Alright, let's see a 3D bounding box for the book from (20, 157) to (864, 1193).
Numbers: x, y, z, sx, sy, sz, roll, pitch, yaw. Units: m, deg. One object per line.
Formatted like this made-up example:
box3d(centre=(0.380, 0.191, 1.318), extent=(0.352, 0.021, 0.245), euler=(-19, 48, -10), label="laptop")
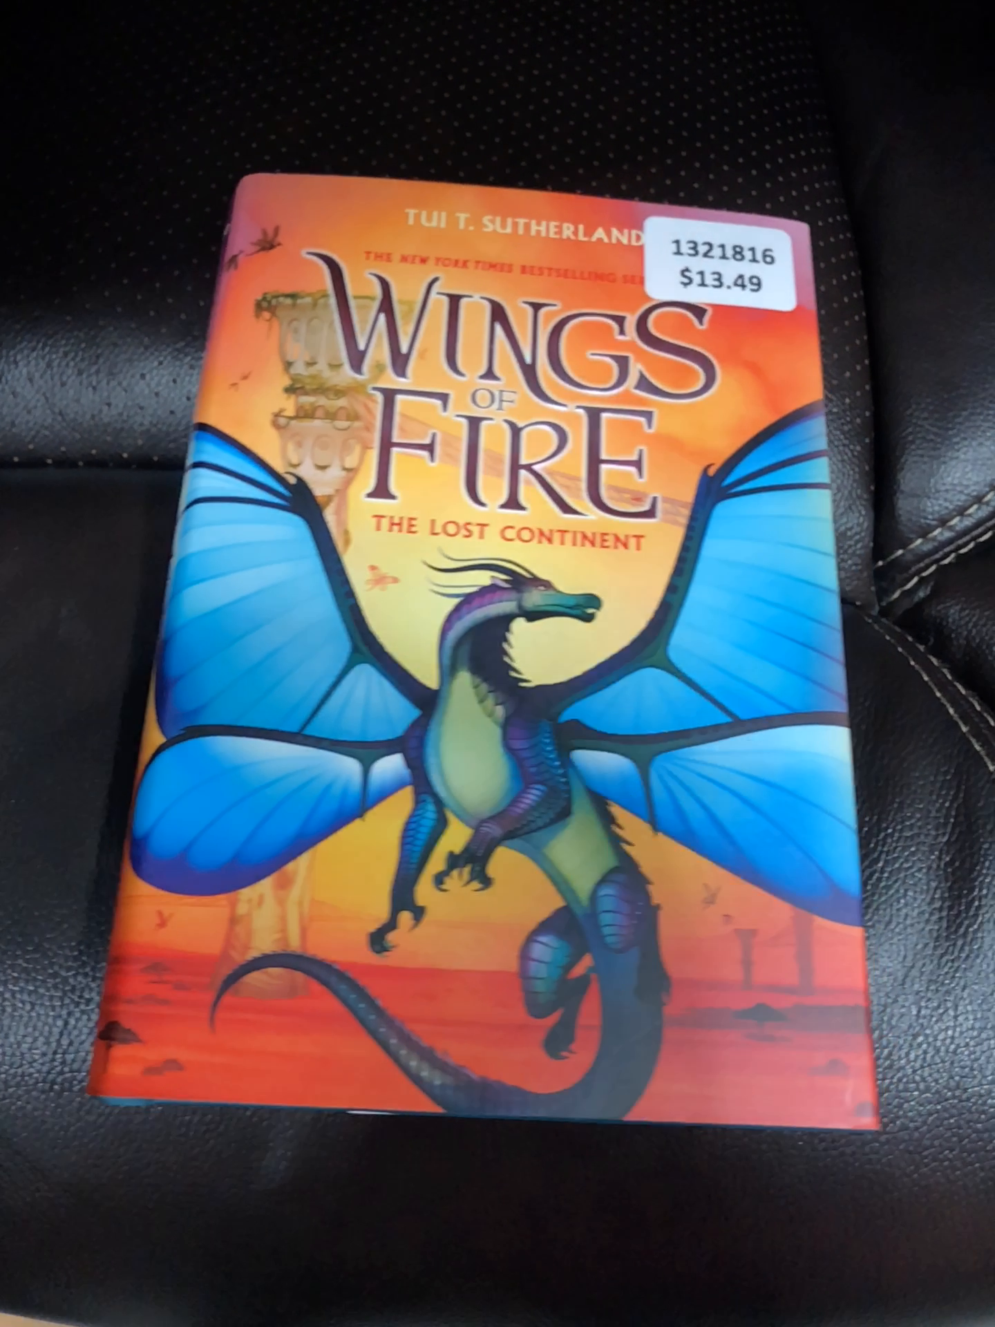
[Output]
box3d(centre=(-0.003, -0.008, 0.247), extent=(0.148, 0.030, 0.218), euler=(5, 70, -3), label="book")
